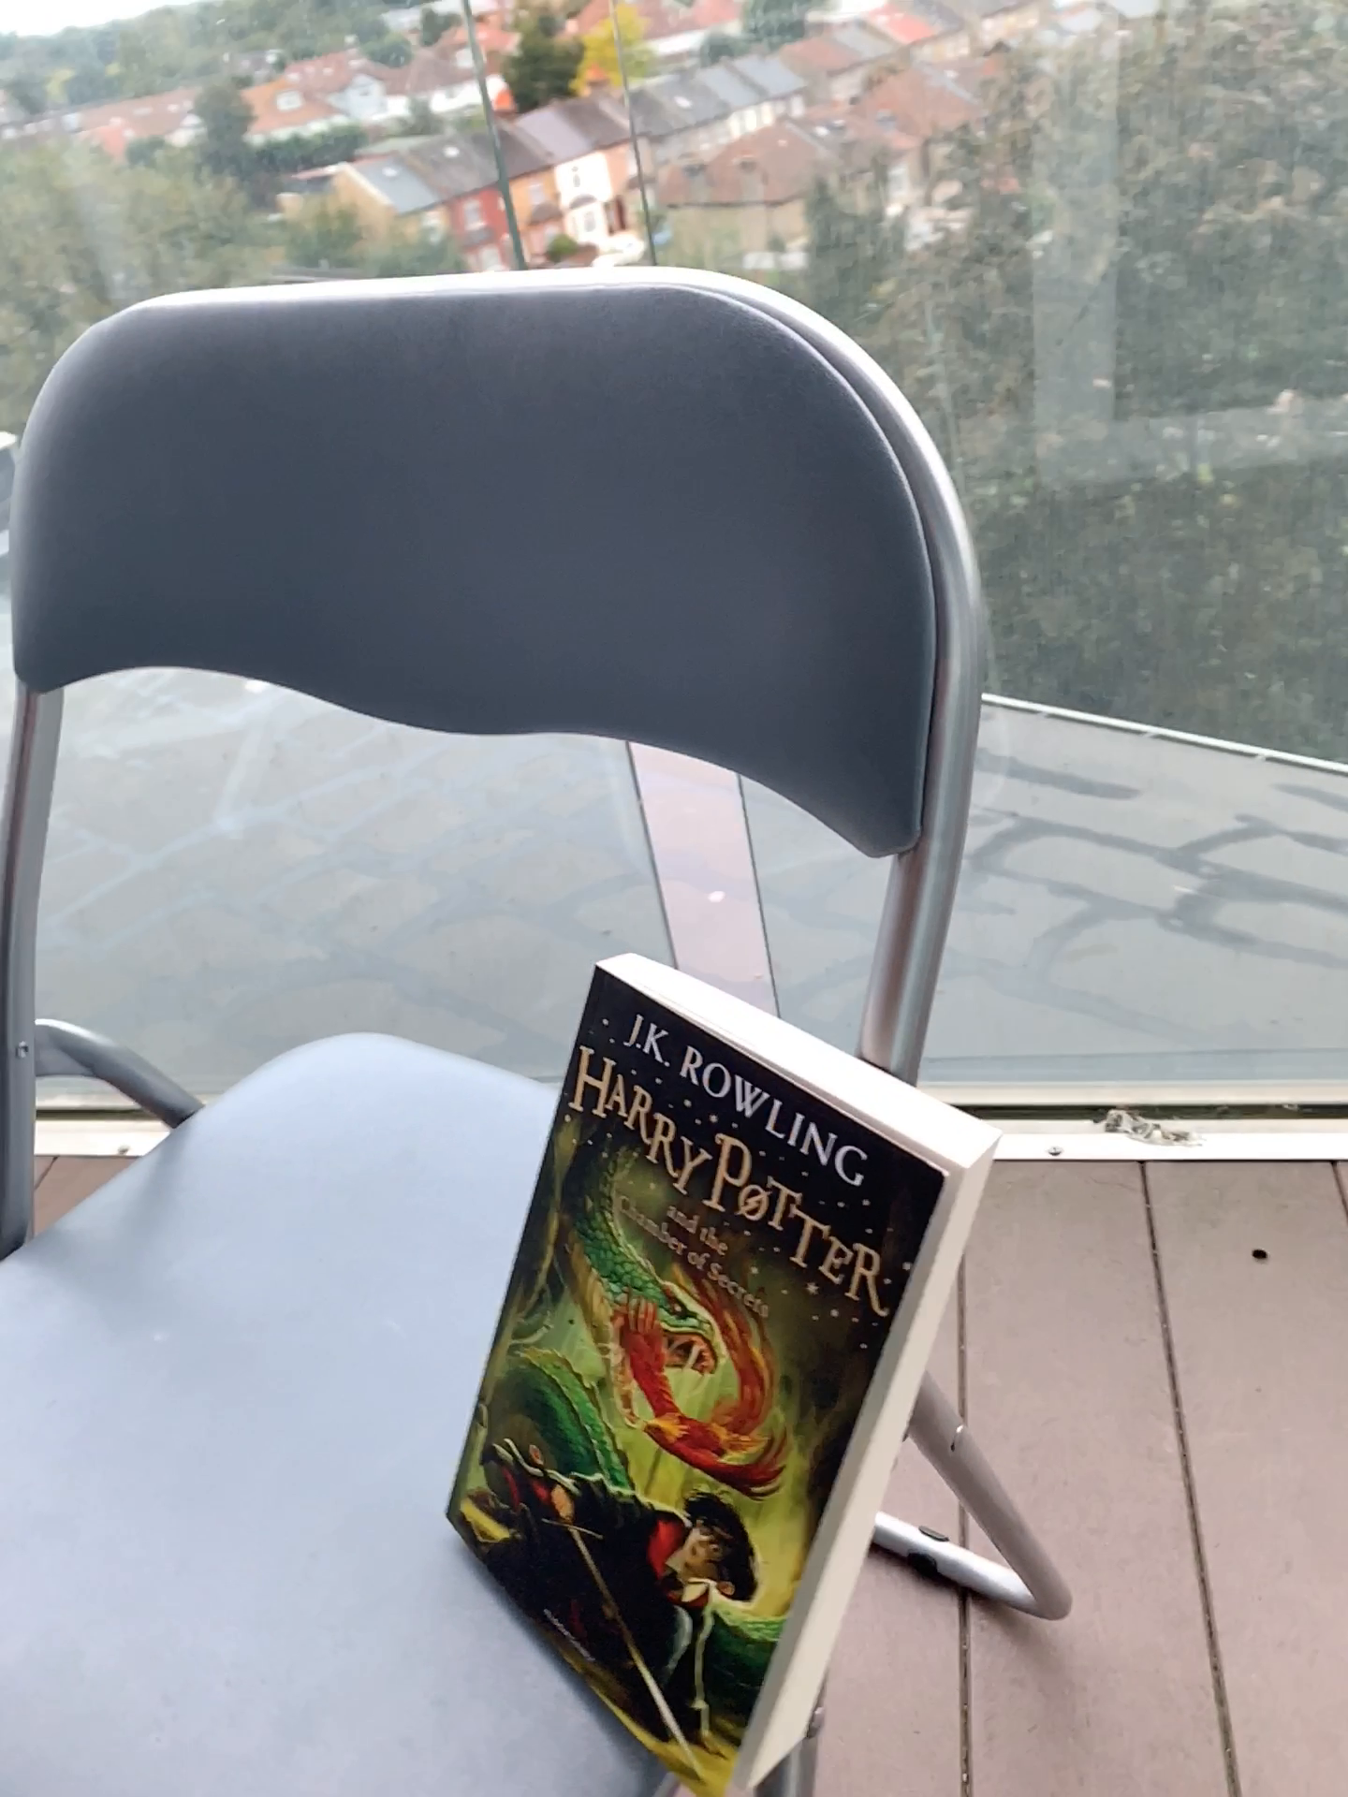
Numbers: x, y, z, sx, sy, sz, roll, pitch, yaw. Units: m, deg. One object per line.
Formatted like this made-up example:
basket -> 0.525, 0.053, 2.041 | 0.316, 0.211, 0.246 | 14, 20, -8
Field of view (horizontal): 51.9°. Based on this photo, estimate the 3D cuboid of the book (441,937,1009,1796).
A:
book -> 0.003, 0.131, 0.407 | 0.040, 0.199, 0.141 | -3, 20, -45
